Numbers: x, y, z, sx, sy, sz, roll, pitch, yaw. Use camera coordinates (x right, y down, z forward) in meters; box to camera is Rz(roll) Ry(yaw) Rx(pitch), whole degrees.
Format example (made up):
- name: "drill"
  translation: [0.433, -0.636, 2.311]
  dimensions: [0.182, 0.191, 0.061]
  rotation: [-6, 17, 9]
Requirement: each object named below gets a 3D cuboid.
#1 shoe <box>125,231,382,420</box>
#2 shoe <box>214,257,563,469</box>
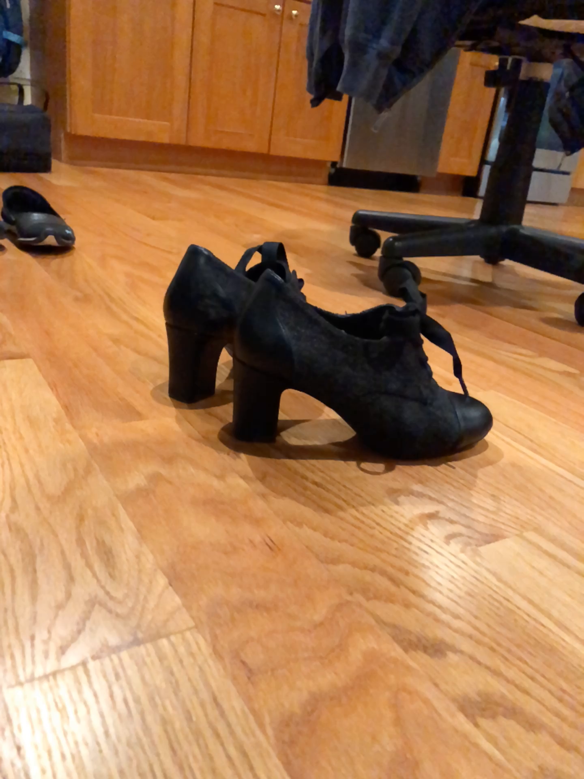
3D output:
- name: "shoe"
  translation: [-0.029, -0.071, 0.582]
  dimensions: [0.088, 0.125, 0.223]
  rotation: [24, 27, 37]
- name: "shoe"
  translation: [0.063, -0.019, 0.482]
  dimensions: [0.223, 0.125, 0.094]
  rotation: [2, 22, -14]
